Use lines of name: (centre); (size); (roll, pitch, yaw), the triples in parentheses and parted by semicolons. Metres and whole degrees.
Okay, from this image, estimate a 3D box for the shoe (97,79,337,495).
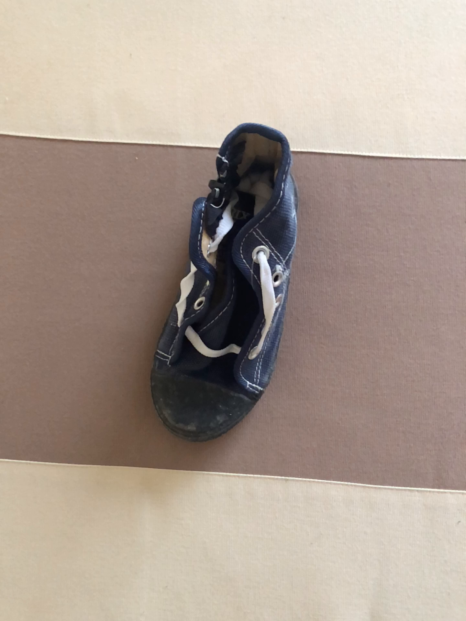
shoe: (-0.006, -0.012, 0.312); (0.090, 0.100, 0.200); (10, 90, 2)
